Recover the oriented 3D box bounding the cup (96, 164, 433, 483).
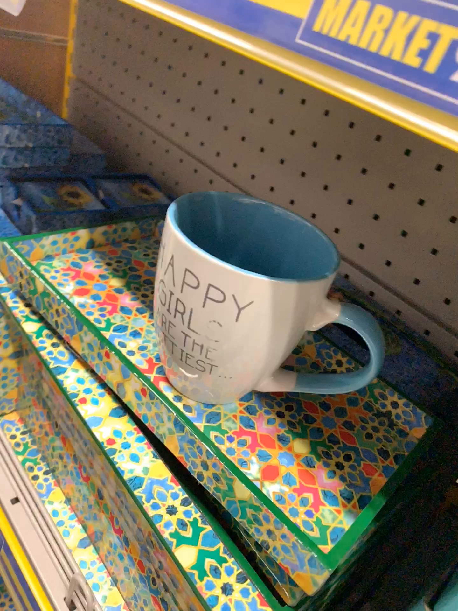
[{"bbox_3d":[0.023,-0.003,0.294,0.150,0.100,0.120,28,33,16],"label":"cup"}]
